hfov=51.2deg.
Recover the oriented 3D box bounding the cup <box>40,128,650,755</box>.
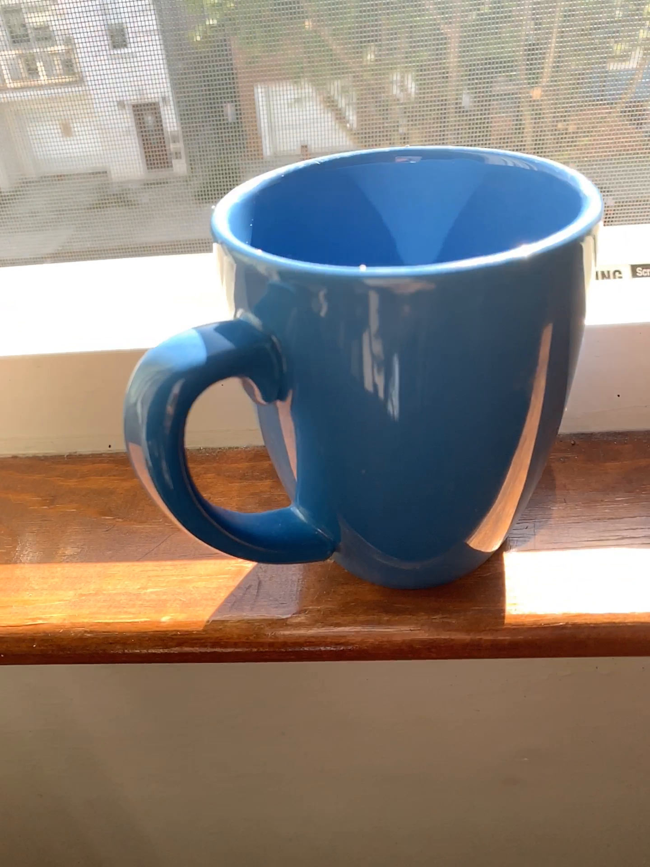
[{"bbox_3d":[0.012,-0.009,0.173,0.113,0.094,0.082,-28,43,-27],"label":"cup"}]
